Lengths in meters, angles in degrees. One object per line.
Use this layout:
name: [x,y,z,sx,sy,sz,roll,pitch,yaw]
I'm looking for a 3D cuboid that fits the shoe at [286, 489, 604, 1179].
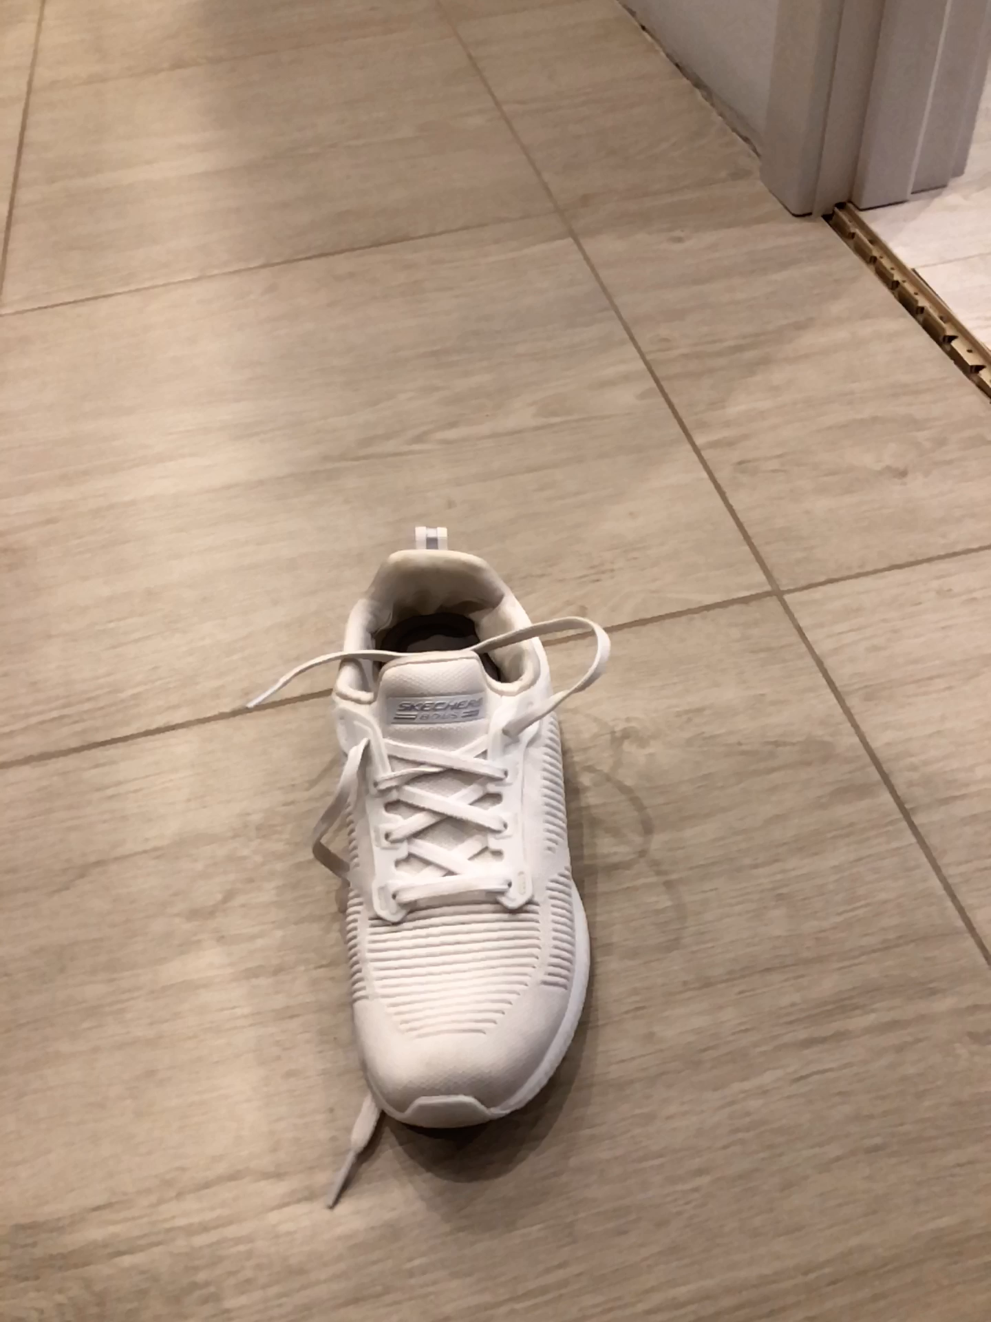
shoe: [-0.018,0.059,0.427,0.090,0.119,0.231,-6,50,1]
